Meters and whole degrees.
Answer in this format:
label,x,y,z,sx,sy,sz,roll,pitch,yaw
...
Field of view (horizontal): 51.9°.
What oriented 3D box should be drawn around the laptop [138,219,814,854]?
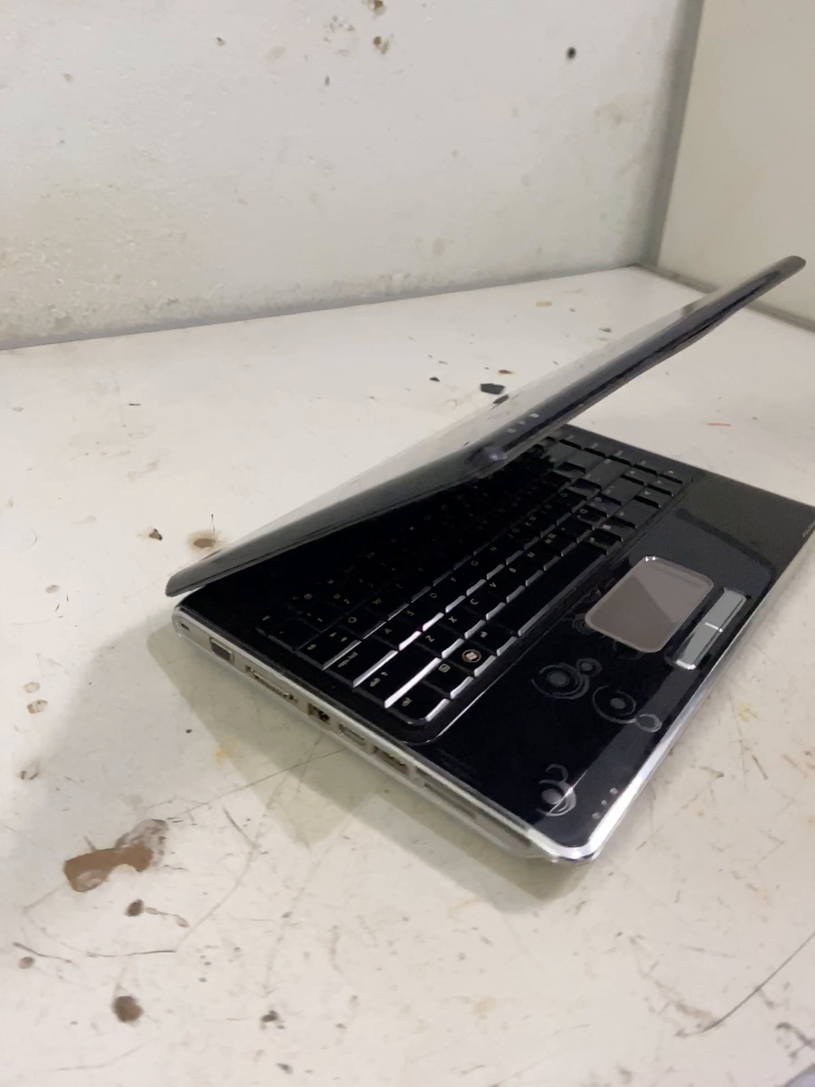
label,x,y,z,sx,sy,sz,roll,pitch,yaw
laptop,0.076,-0.054,0.442,0.231,0.137,0.329,25,39,30
